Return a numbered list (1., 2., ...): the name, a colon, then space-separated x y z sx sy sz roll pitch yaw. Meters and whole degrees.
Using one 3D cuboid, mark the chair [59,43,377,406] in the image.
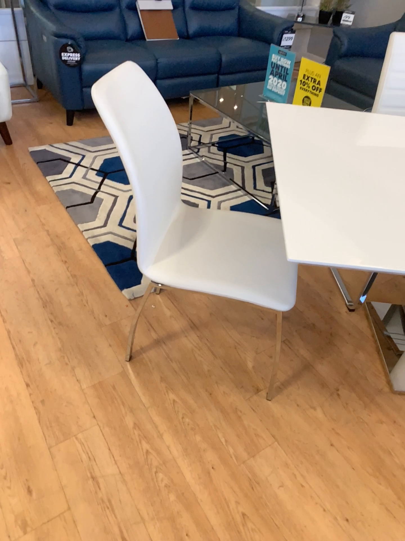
1. chair: 0.034 -0.120 1.265 0.629 0.863 0.520 12 41 6
